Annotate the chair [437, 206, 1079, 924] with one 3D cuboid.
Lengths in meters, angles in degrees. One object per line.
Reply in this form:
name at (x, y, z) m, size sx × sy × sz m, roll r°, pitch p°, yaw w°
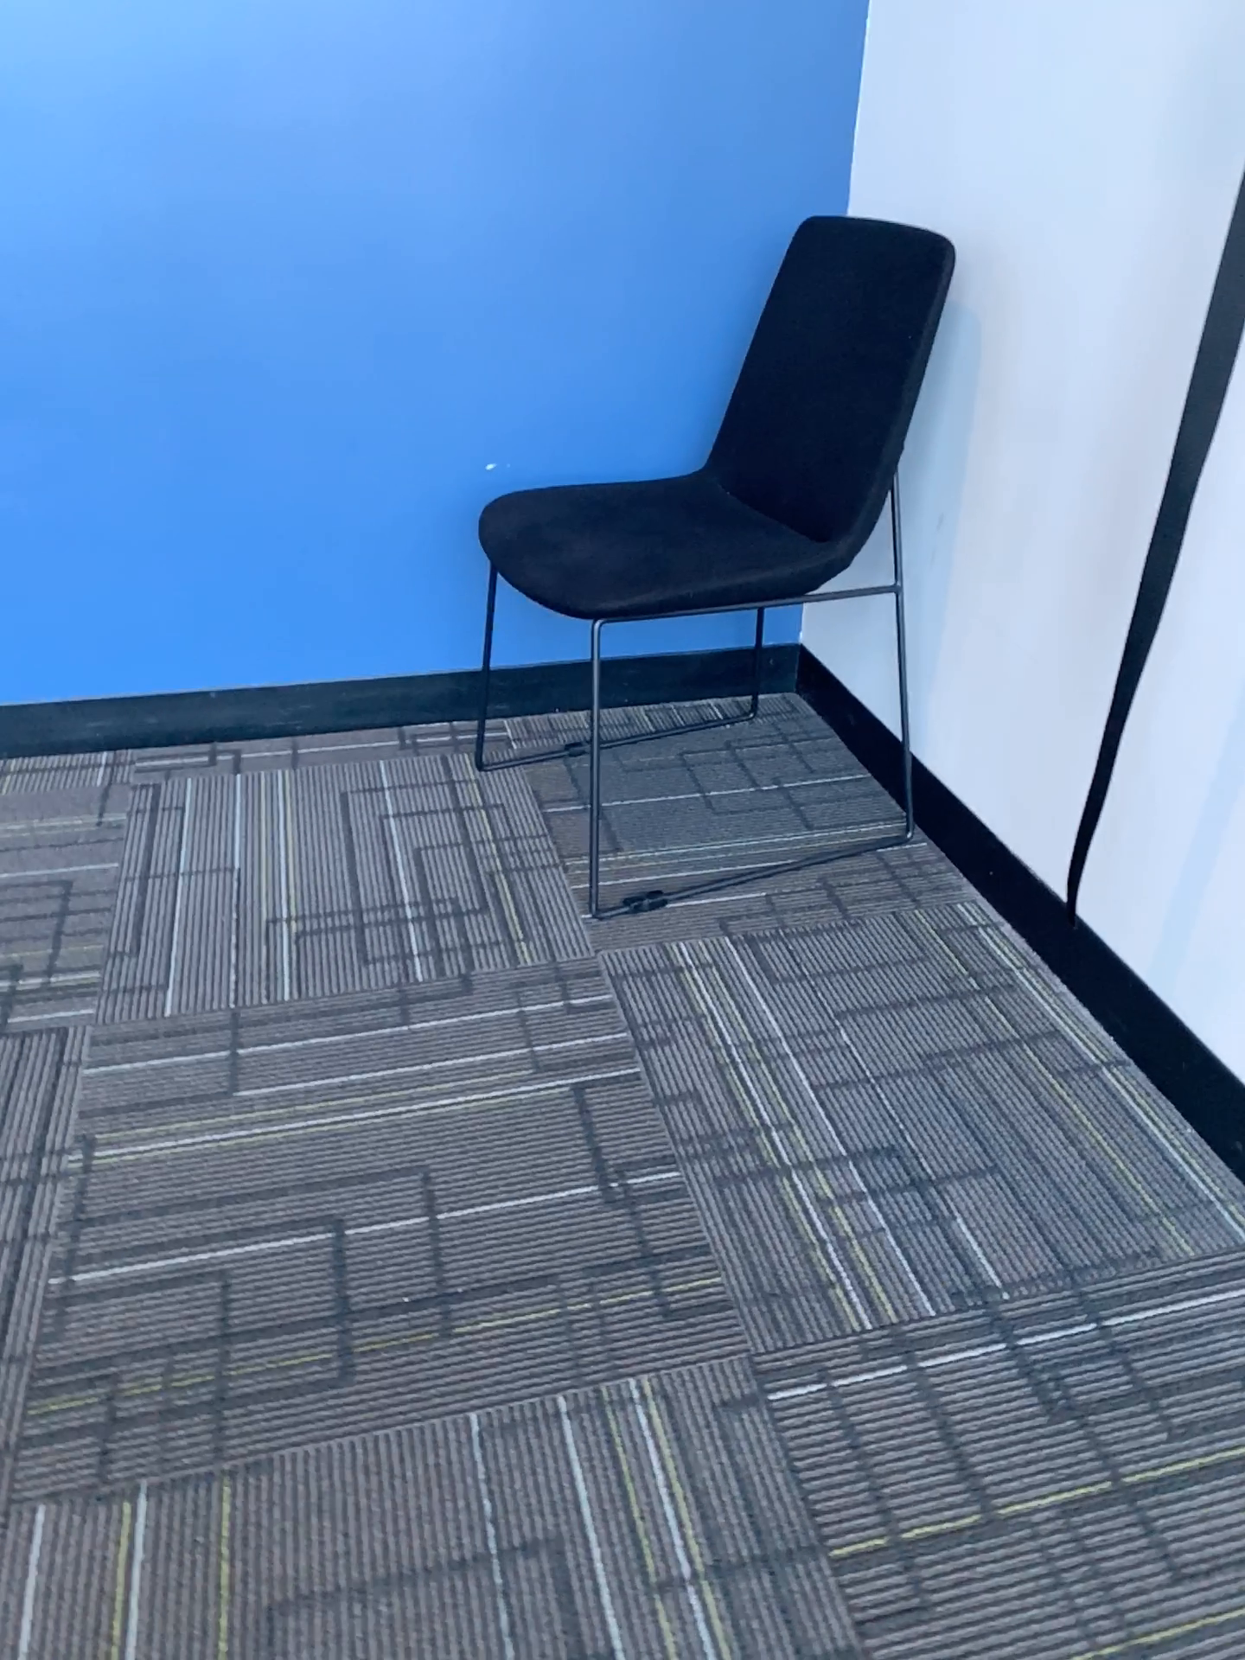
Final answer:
chair at (0.126, -0.385, 1.673) m, size 0.580 × 0.755 × 0.503 m, roll -12°, pitch 33°, yaw -22°
